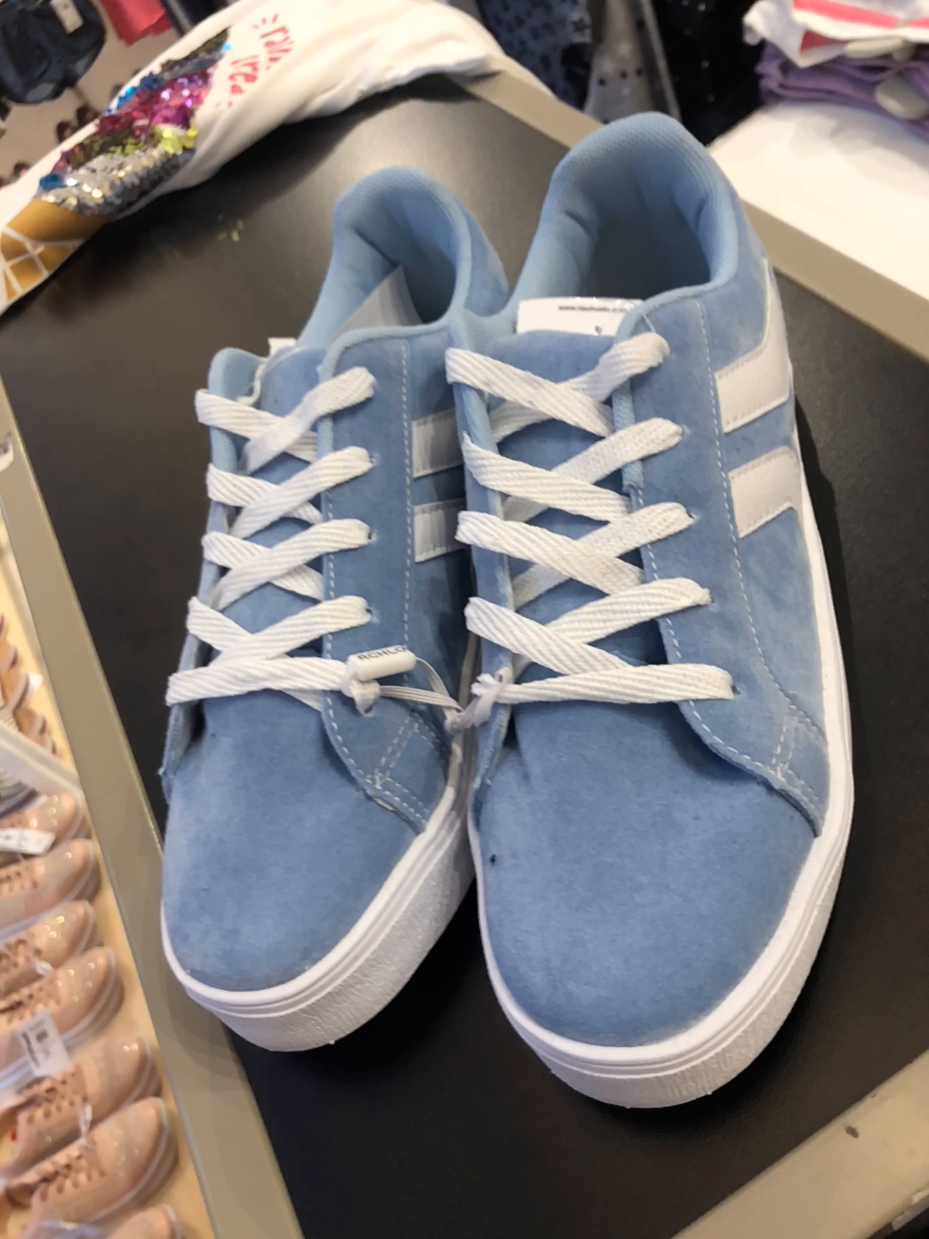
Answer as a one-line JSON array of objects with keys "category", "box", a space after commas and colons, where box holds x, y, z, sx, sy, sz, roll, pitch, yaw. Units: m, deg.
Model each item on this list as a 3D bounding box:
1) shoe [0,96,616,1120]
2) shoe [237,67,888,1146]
[{"category": "shoe", "box": [-0.034, -0.009, 0.290, 0.100, 0.119, 0.241, -3, 55, 24]}, {"category": "shoe", "box": [0.044, -0.009, 0.274, 0.100, 0.119, 0.241, -6, 54, 22]}]
